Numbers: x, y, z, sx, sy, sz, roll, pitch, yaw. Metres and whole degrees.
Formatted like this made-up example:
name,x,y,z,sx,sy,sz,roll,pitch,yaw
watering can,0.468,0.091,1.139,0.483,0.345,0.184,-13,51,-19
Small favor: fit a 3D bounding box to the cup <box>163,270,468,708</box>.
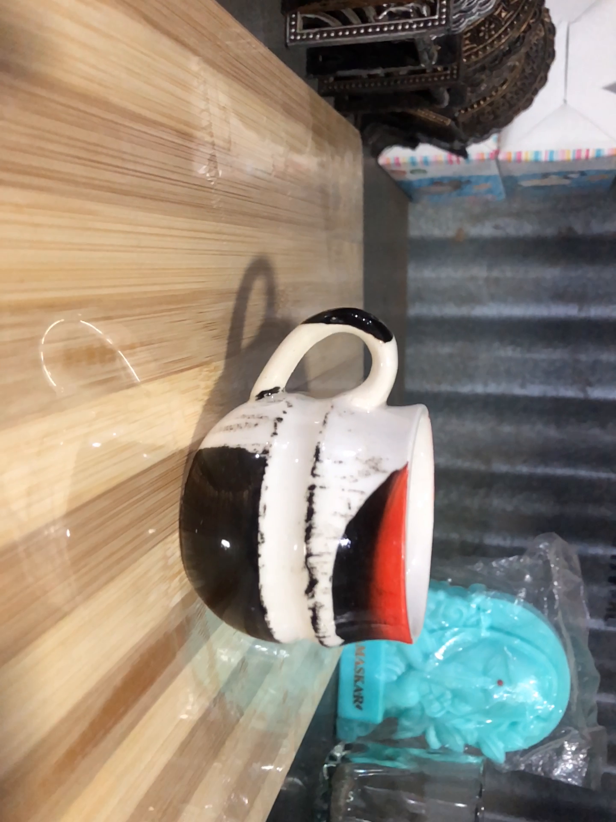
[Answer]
name,x,y,z,sx,sy,sz,roll,pitch,yaw
cup,0.010,0.017,0.188,0.080,0.060,0.090,18,75,-75
